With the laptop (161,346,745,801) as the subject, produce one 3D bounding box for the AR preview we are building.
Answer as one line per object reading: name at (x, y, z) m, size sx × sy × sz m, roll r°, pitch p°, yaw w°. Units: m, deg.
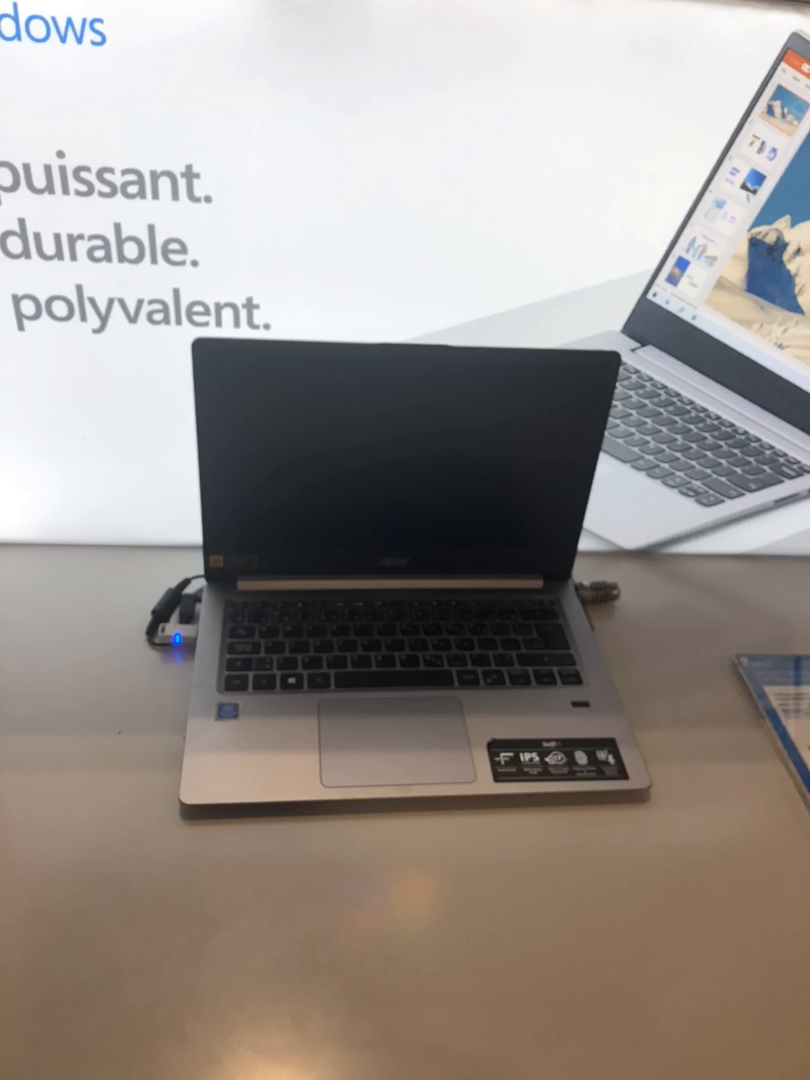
laptop at (0.011, 0.015, 0.622) m, size 0.311 × 0.210 × 0.227 m, roll 0°, pitch 35°, yaw -7°
